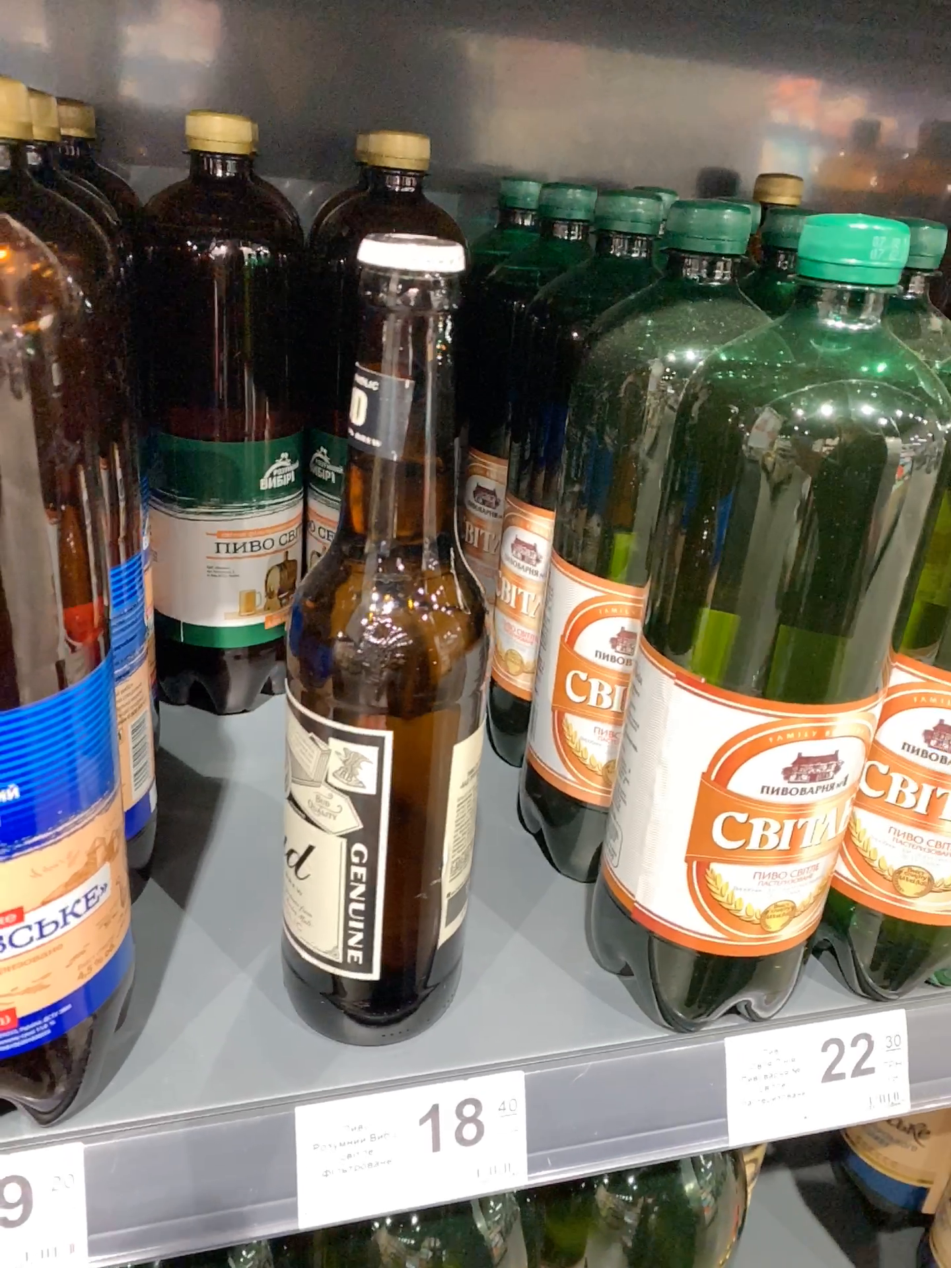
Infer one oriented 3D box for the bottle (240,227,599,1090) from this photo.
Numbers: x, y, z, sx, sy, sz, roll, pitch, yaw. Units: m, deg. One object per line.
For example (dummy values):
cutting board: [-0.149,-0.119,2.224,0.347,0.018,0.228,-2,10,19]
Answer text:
bottle: [-0.025,0.014,0.313,0.064,0.258,0.070,27,32,38]
